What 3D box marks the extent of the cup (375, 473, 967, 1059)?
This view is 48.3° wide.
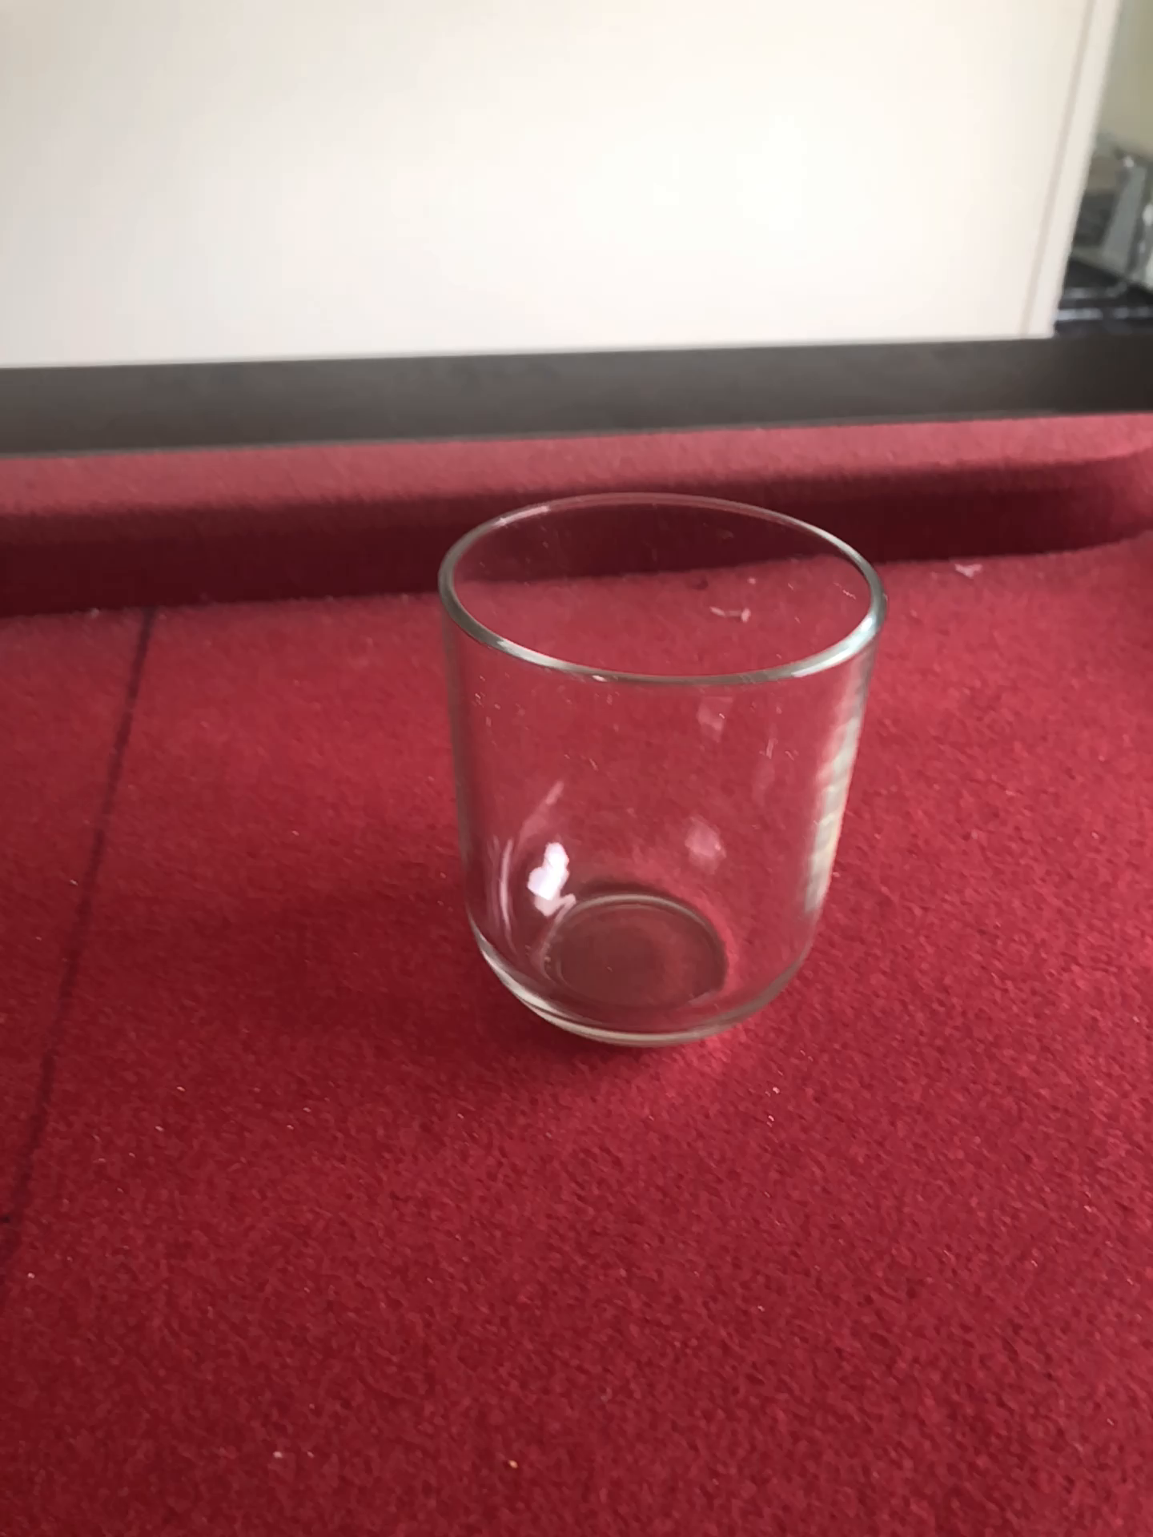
[{"bbox_3d":[0.011,-0.004,0.226,0.080,0.070,0.080,1,33,-1],"label":"cup"}]
